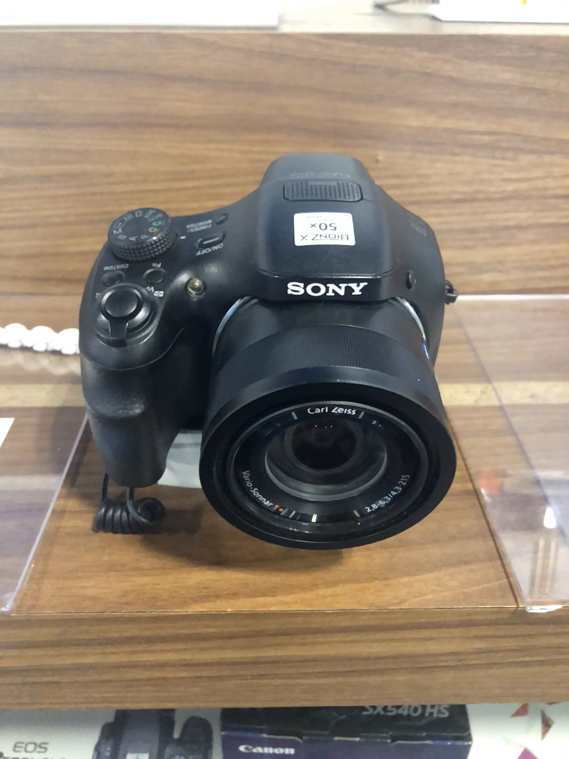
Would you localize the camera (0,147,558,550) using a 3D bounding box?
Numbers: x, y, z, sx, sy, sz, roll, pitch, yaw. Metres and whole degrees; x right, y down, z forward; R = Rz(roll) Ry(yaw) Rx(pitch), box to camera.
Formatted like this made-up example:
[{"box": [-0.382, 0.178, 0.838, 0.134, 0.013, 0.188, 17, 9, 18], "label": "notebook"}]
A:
[{"box": [-0.005, -0.017, 0.204, 0.125, 0.084, 0.110, 0, 33, 0], "label": "camera"}]
